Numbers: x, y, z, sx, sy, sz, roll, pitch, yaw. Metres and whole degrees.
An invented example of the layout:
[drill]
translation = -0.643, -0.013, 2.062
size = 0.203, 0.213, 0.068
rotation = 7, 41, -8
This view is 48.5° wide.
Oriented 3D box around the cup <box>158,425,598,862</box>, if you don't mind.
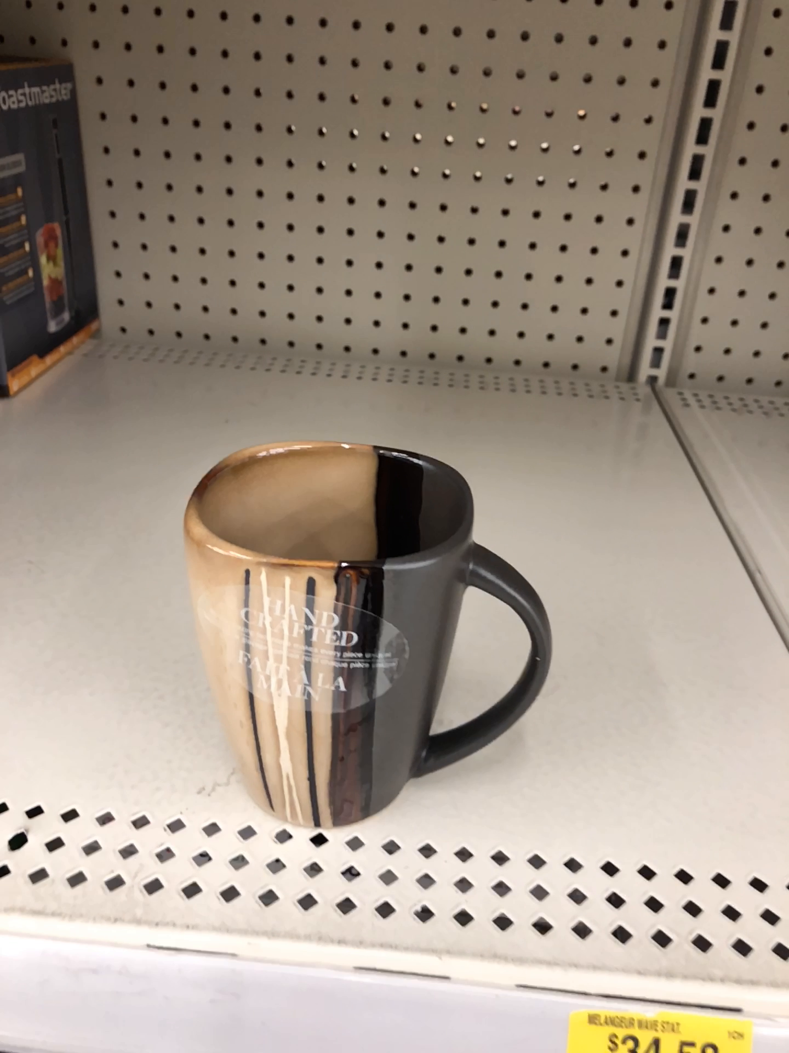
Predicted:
[cup]
translation = -0.005, 0.037, 0.303
size = 0.120, 0.110, 0.087
rotation = 4, 29, 1
